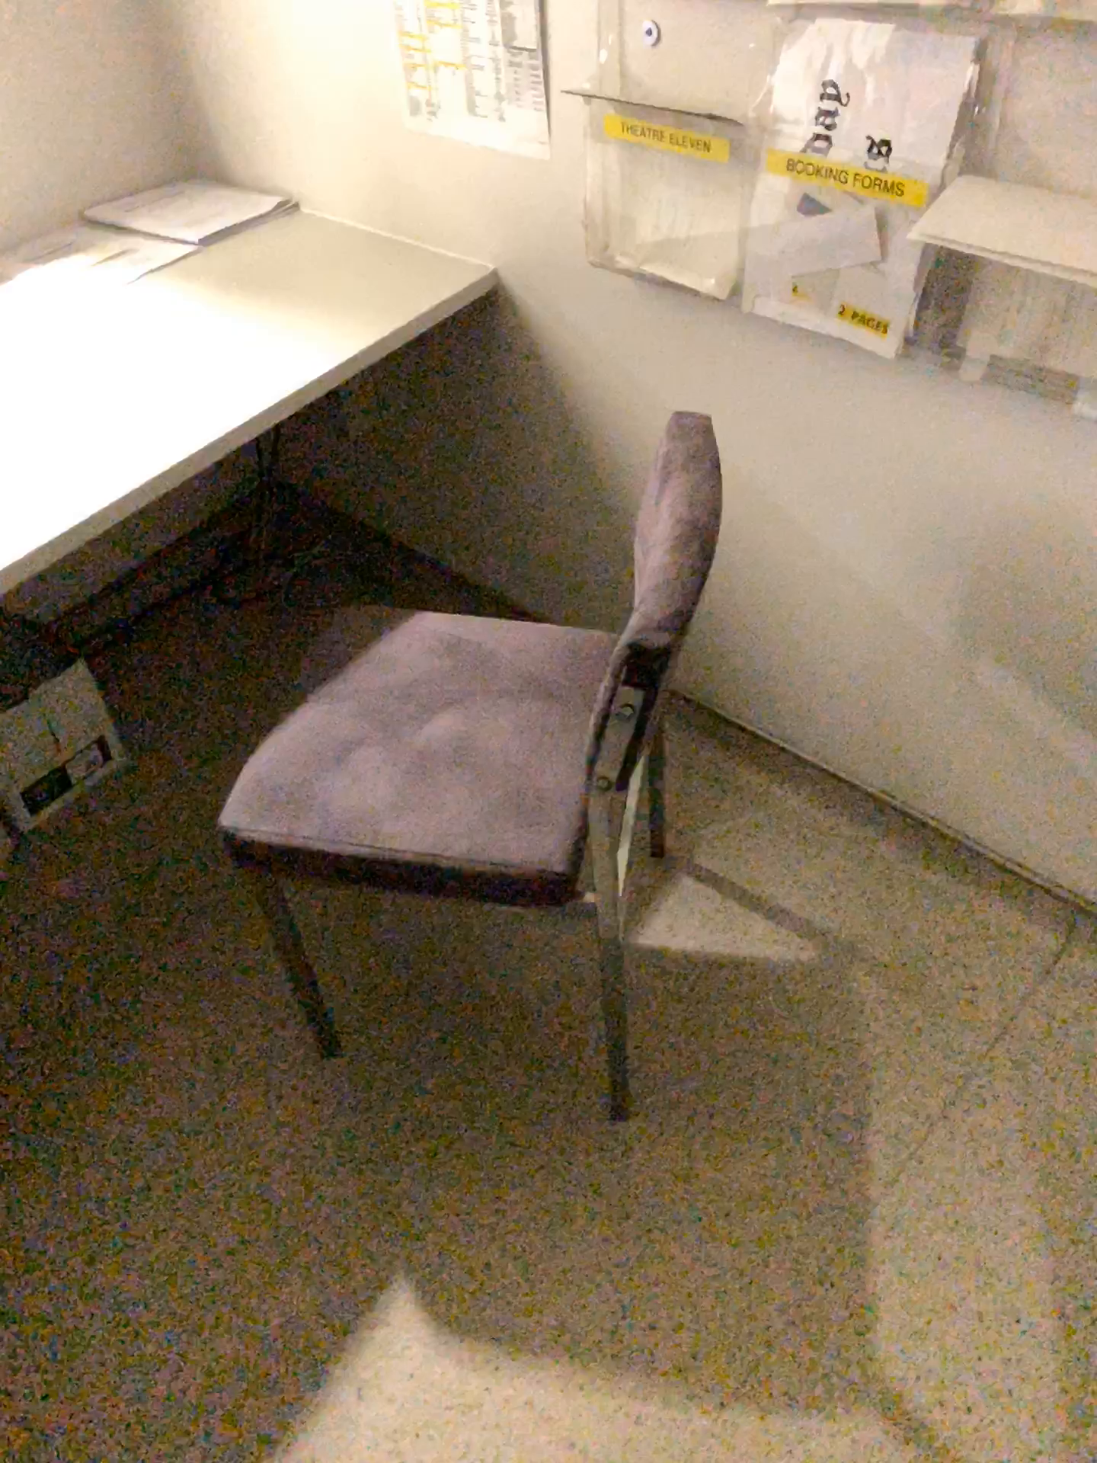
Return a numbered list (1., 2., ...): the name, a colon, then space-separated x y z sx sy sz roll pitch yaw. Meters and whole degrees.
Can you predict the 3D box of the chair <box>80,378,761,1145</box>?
1. chair: -0.061 0.020 1.346 0.550 0.663 0.575 5 42 12
